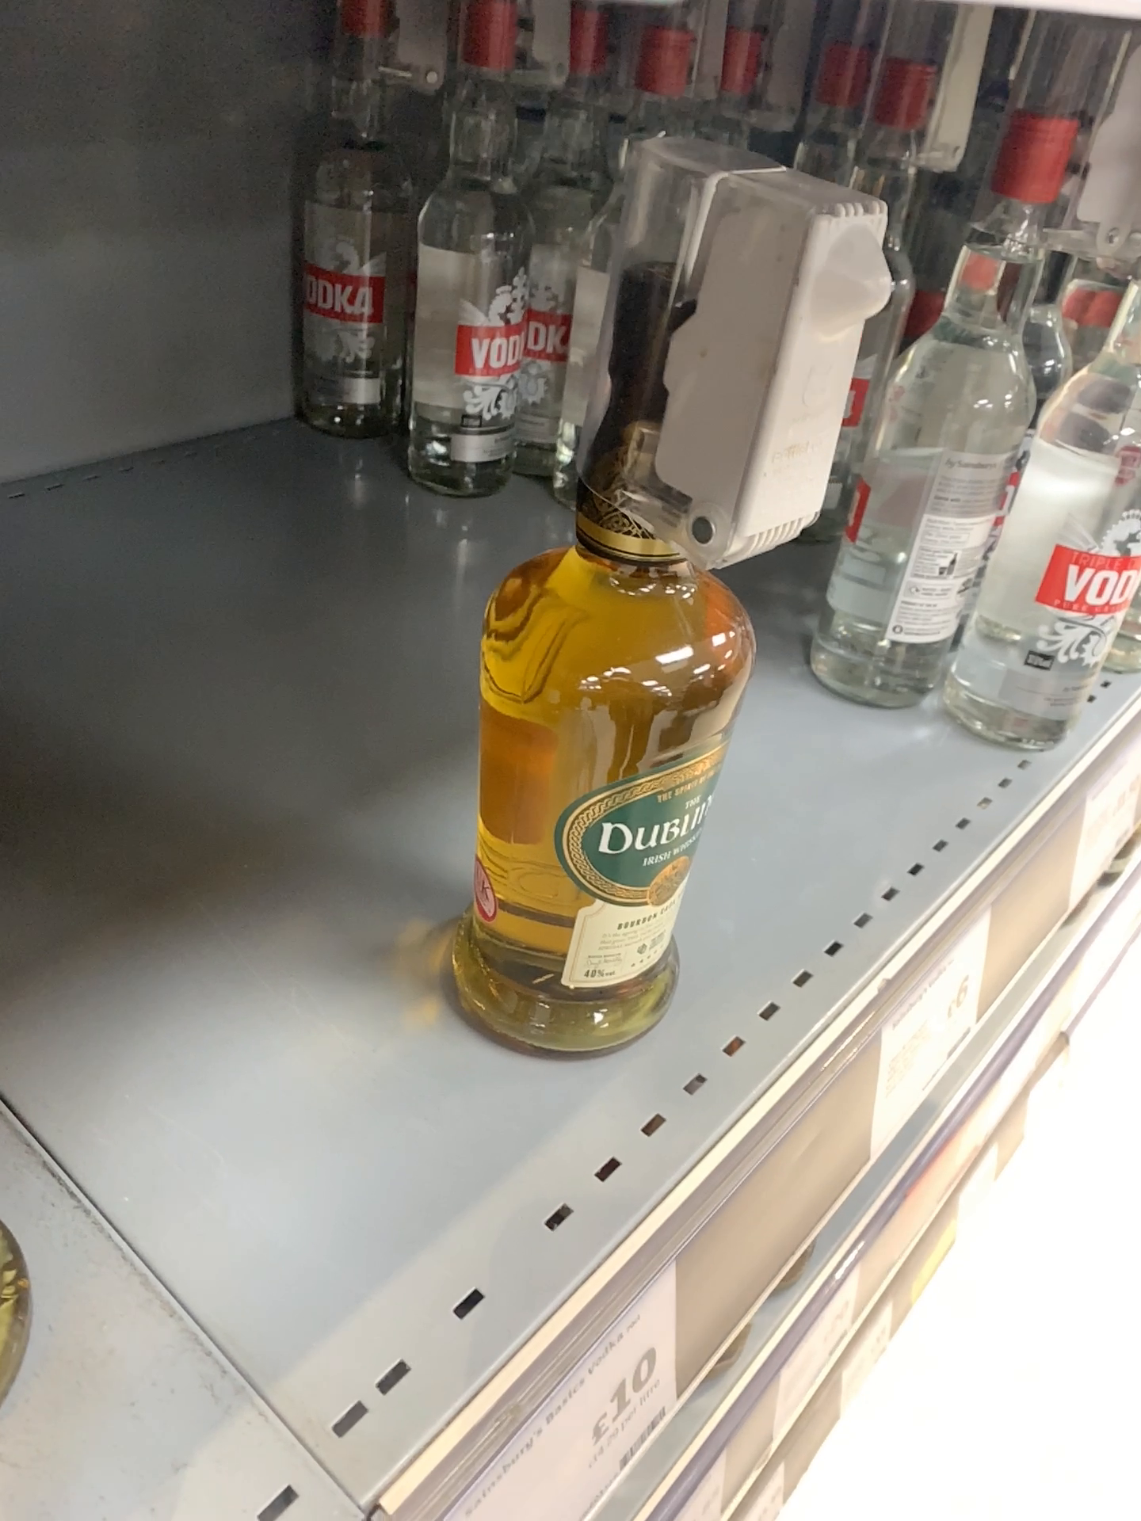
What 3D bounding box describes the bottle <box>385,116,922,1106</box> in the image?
[{"bbox_3d":[0.007,-0.034,0.367,0.089,0.283,0.090,5,36,-4],"label":"bottle"}]
